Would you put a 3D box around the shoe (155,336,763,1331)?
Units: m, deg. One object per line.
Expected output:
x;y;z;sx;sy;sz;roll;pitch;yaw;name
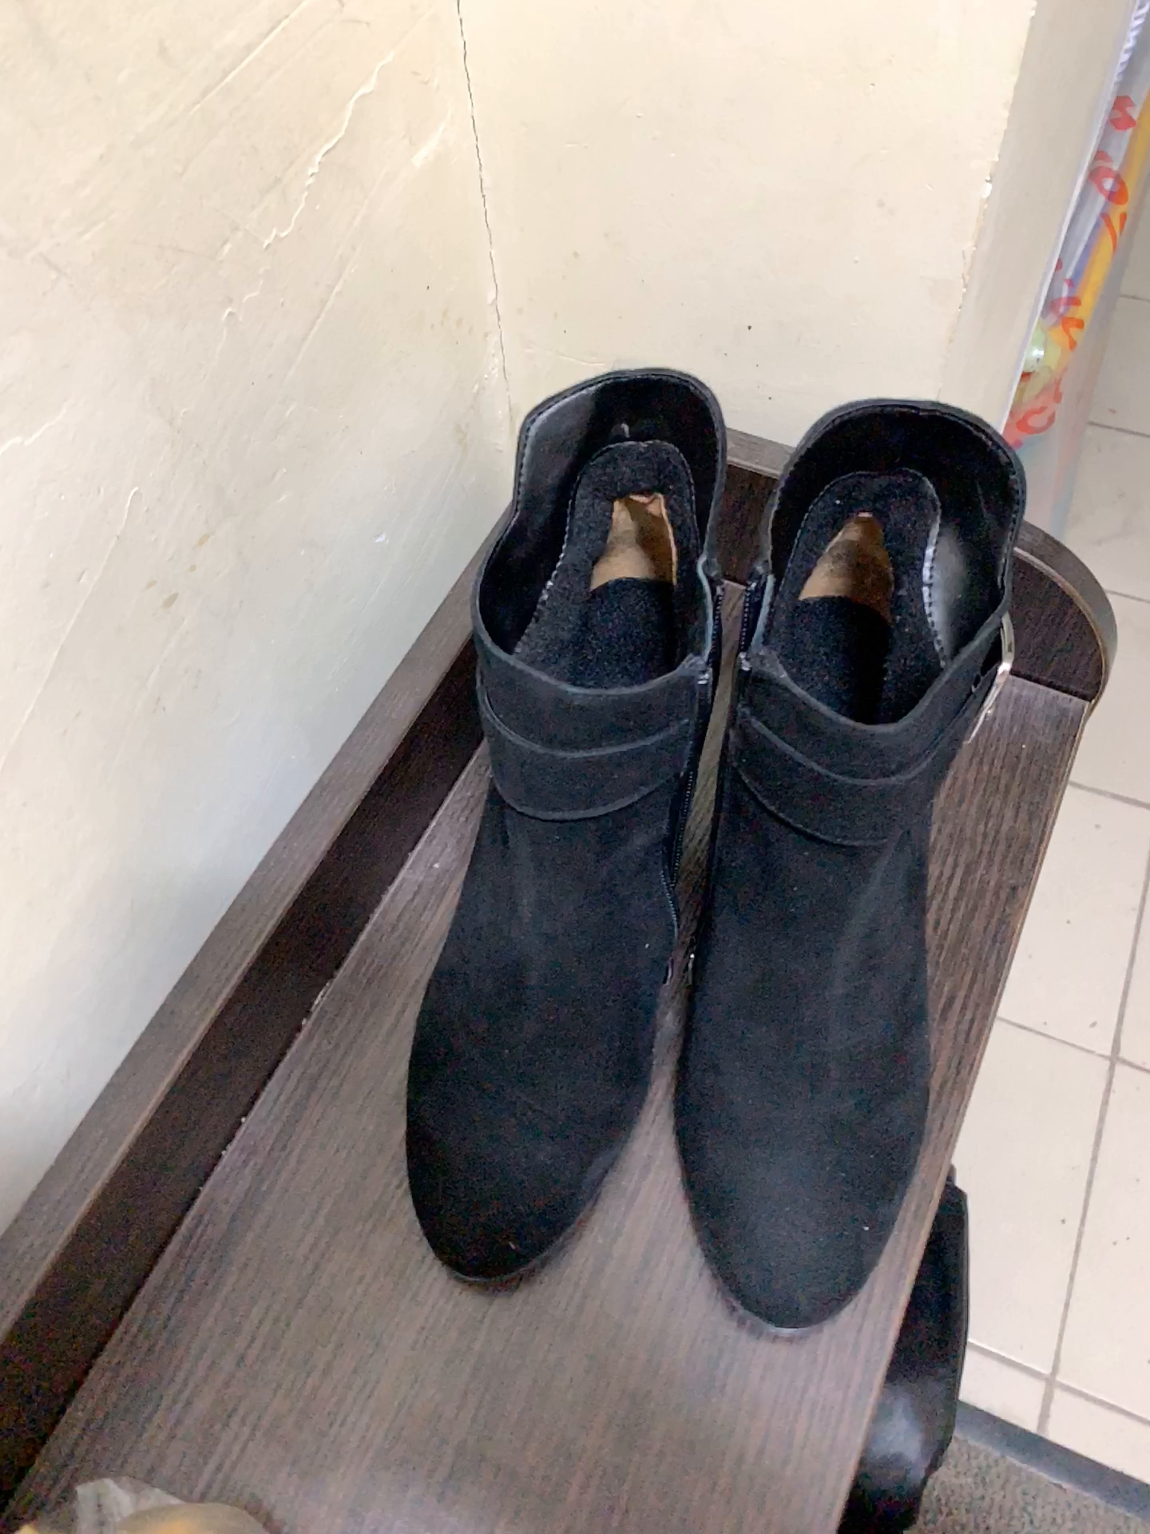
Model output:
-0.010;0.024;0.373;0.088;0.189;0.241;10;57;9;shoe

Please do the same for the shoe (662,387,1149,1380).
0.076;0.040;0.363;0.088;0.189;0.241;2;56;4;shoe
